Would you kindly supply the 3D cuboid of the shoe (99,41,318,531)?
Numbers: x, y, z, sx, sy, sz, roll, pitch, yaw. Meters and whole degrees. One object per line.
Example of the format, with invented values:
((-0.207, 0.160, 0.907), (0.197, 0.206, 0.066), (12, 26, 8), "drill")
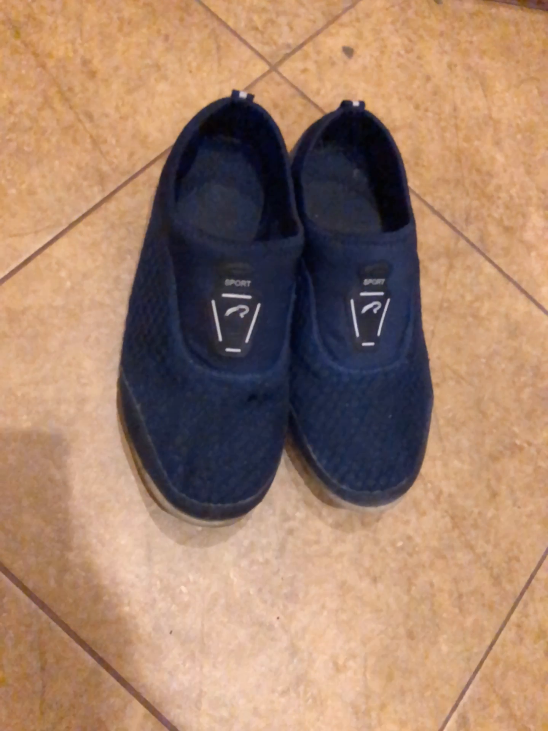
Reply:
((-0.038, -0.049, 0.380), (0.110, 0.070, 0.290), (4, 73, -13), "shoe")

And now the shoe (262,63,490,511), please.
((0.058, -0.053, 0.416), (0.110, 0.070, 0.290), (1, 73, -13), "shoe")
